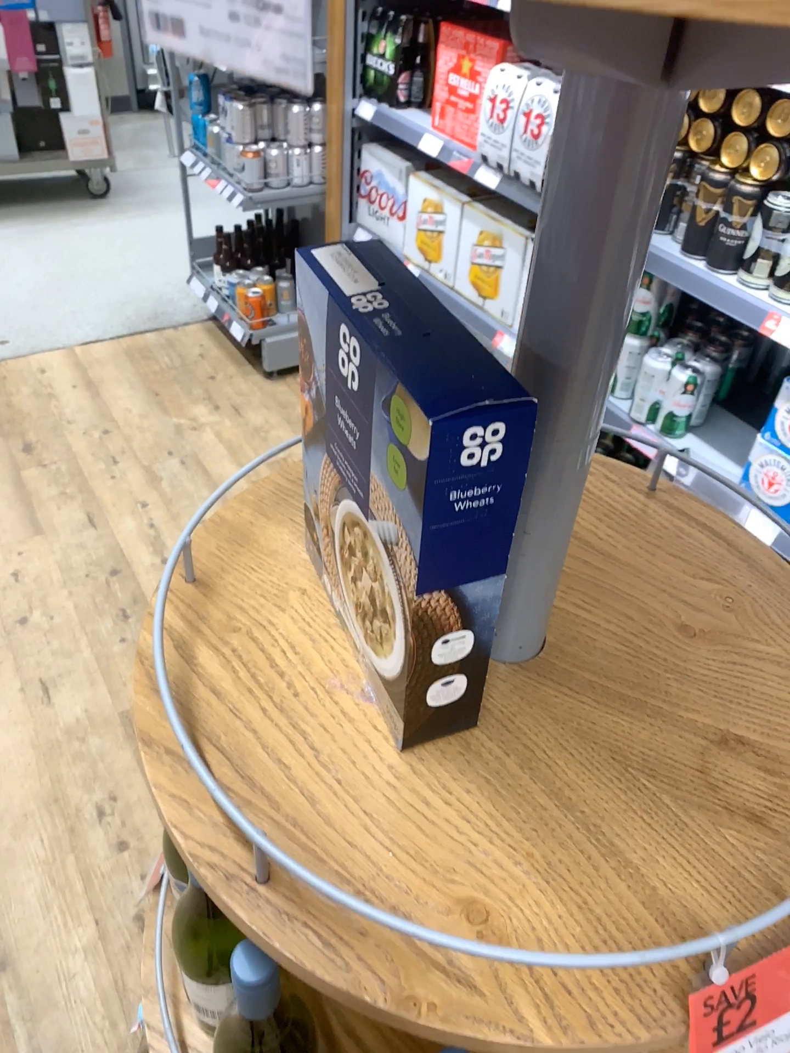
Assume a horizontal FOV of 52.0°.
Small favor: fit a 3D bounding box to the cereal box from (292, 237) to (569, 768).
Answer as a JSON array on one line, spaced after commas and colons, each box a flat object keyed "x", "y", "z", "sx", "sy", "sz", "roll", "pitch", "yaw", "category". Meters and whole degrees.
[{"x": 0.000, "y": -0.016, "z": 0.473, "sx": 0.060, "sy": 0.228, "sz": 0.202, "roll": -12, "pitch": 43, "yaw": -19, "category": "cereal box"}]
